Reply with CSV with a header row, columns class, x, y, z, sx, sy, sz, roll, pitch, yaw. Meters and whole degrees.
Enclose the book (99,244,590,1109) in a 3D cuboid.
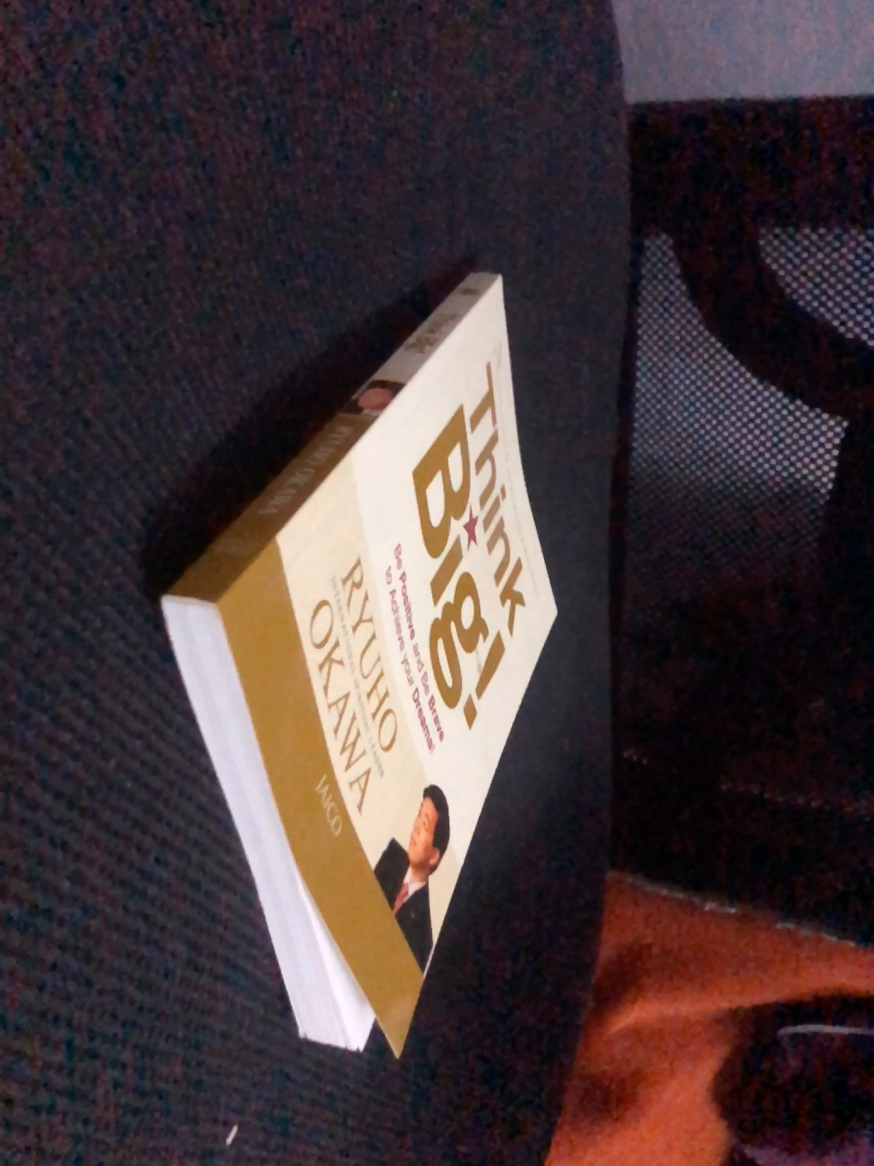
class,x,y,z,sx,sy,sz,roll,pitch,yaw
book,0.002,0.008,0.259,0.191,0.026,0.138,-60,145,-50
